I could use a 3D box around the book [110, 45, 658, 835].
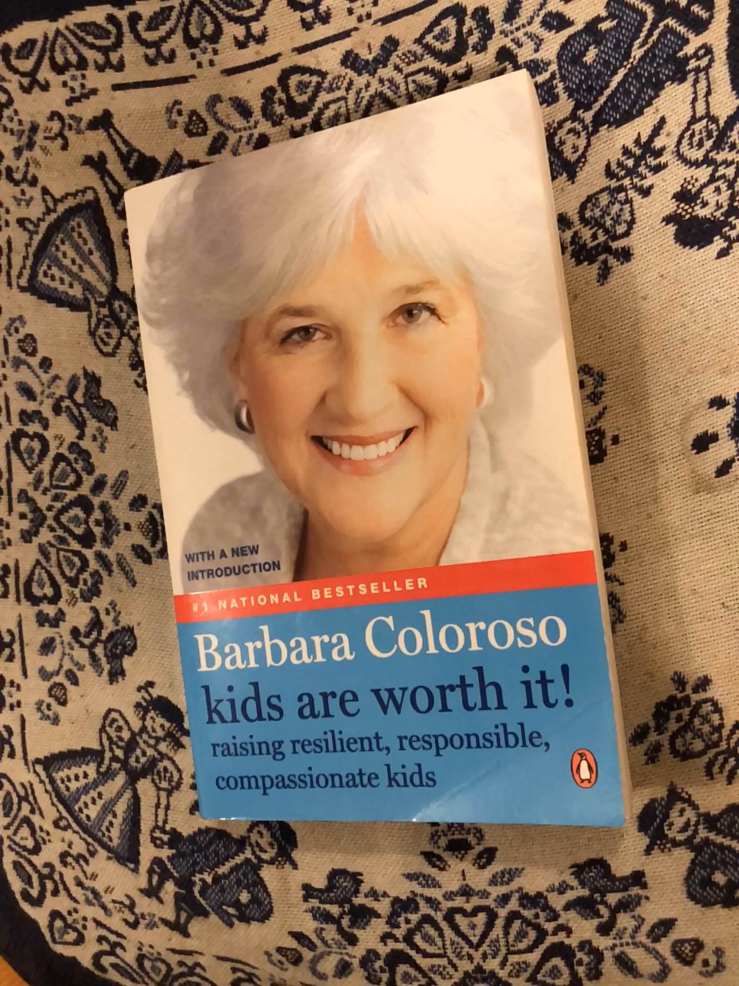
[{"bbox_3d":[0.004,-0.007,0.275,0.150,0.050,0.220,-7,89,19],"label":"book"}]
